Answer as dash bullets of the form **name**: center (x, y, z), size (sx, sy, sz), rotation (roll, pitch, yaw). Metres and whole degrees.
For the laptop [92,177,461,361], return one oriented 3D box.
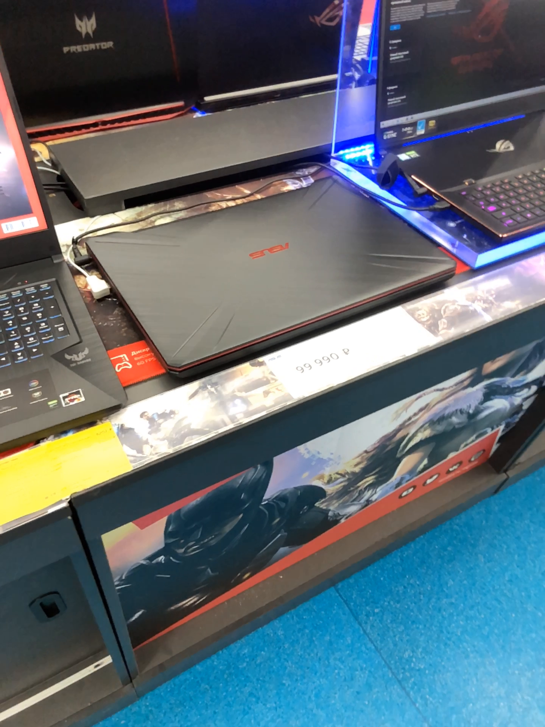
- **laptop**: center (0.002, -0.143, 0.756), size (0.389, 0.002, 0.253), rotation (-21, 47, -22)
